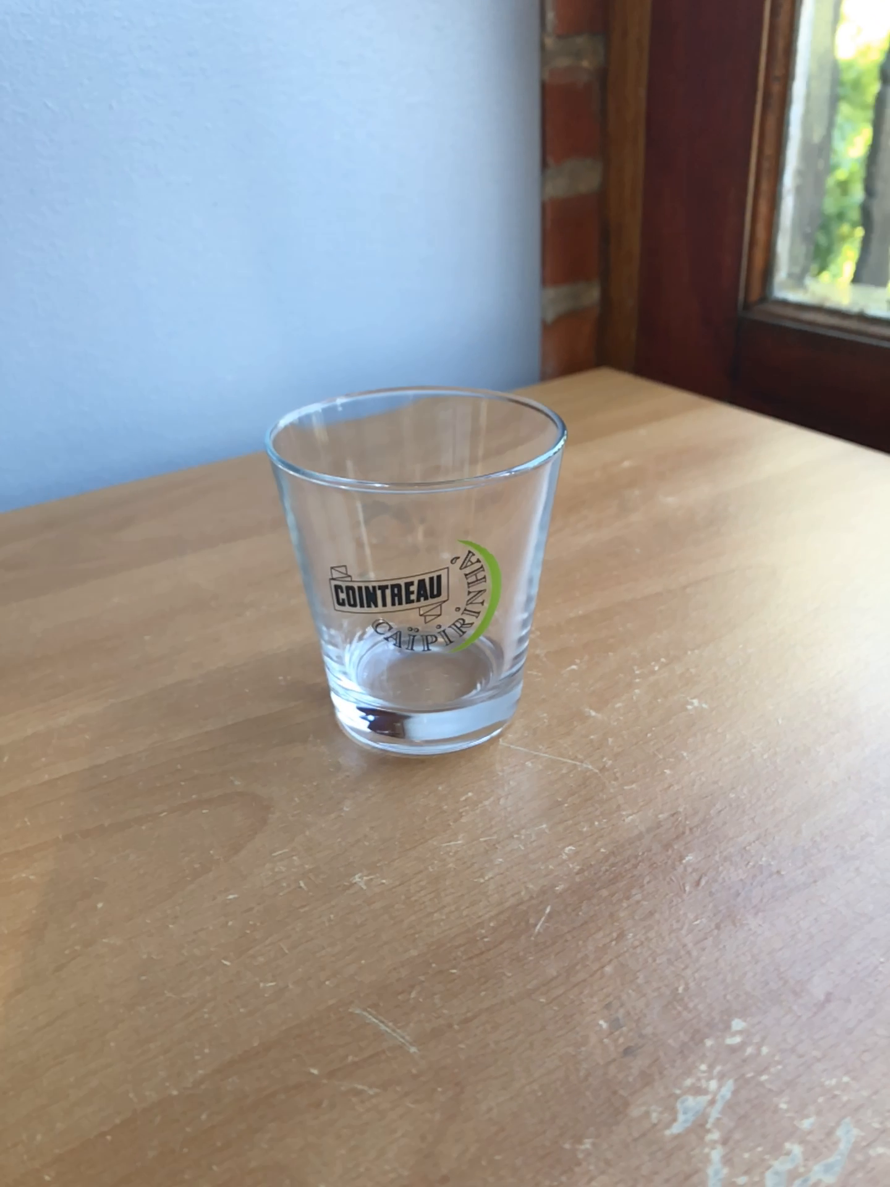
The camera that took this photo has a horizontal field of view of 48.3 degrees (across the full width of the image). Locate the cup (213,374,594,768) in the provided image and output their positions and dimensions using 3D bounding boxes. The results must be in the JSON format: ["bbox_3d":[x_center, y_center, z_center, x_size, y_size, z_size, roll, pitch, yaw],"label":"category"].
[{"bbox_3d":[-0.003,-0.010,0.260,0.079,0.073,0.076,-2,28,1],"label":"cup"}]
